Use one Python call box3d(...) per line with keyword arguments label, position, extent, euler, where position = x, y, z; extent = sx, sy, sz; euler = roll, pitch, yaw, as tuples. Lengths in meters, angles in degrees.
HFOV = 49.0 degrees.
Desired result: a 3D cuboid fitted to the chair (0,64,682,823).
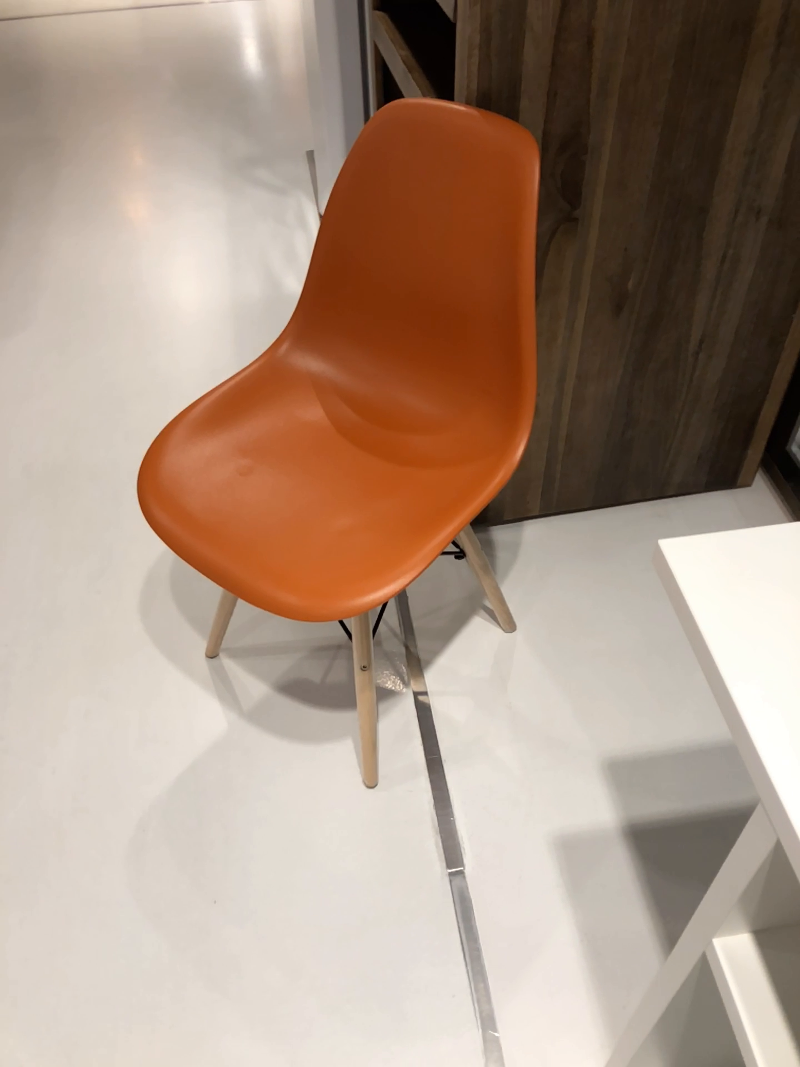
box3d(label="chair", position=(-0.045, -0.121, 1.238), extent=(0.491, 0.745, 0.583), euler=(31, 55, 27))
